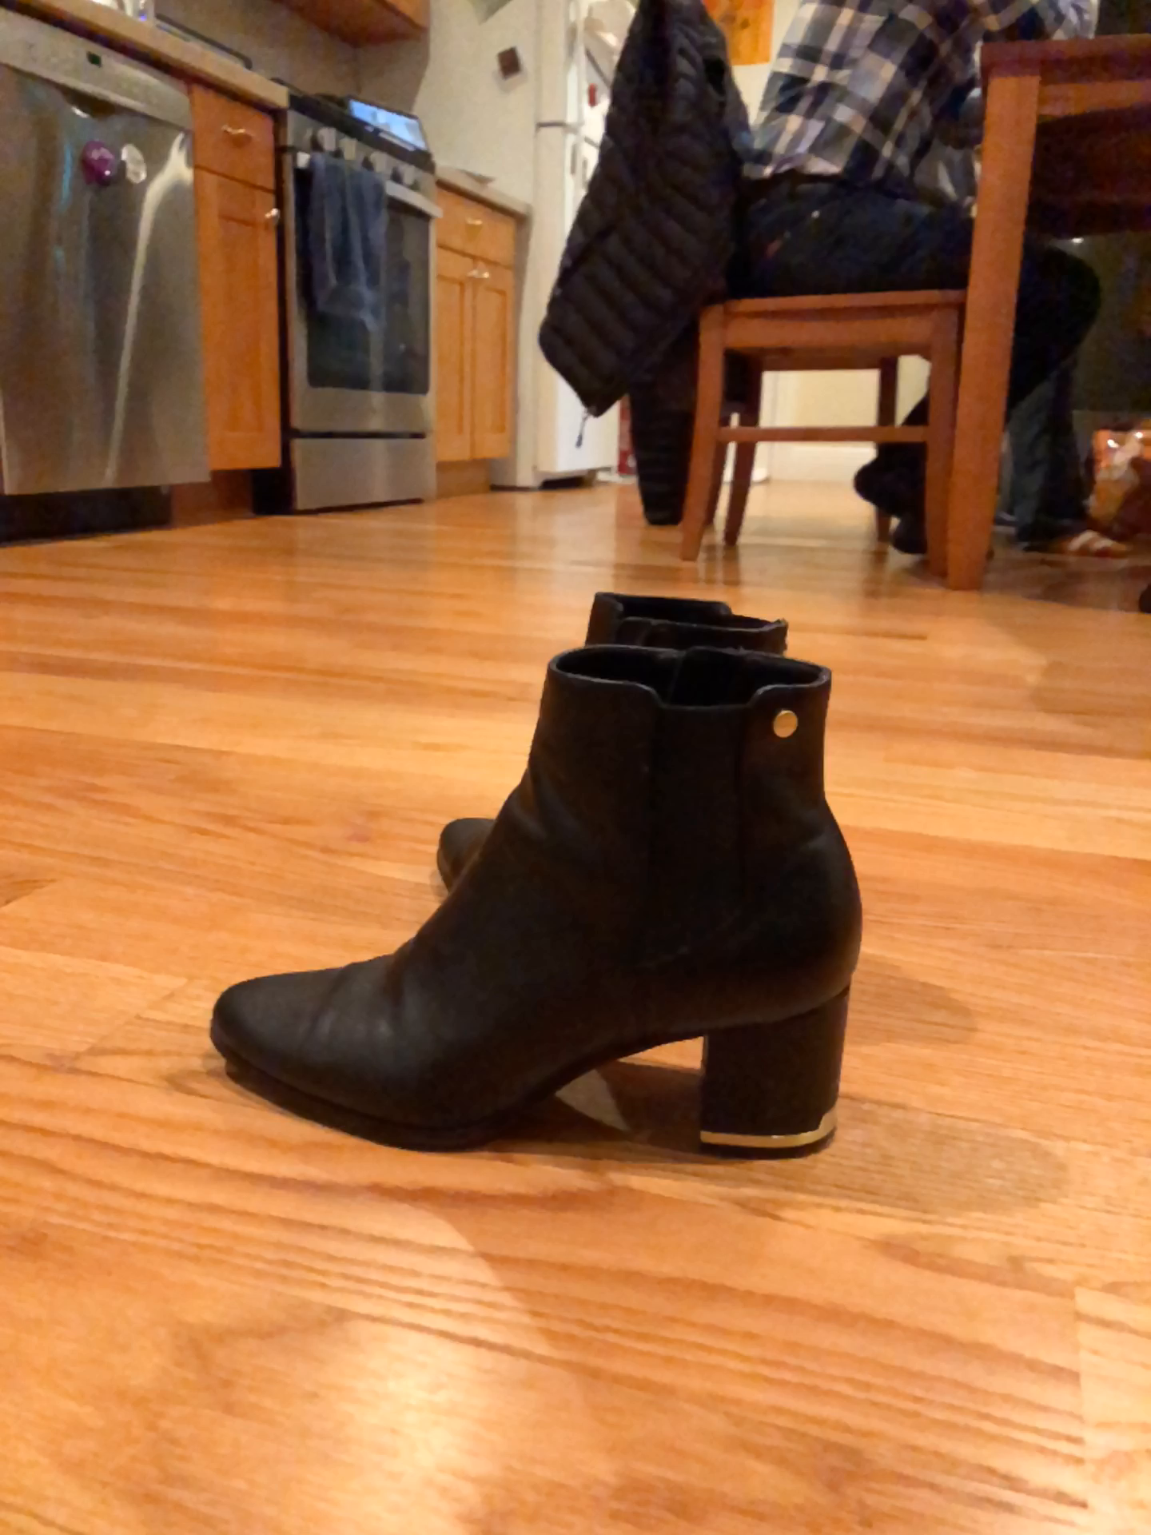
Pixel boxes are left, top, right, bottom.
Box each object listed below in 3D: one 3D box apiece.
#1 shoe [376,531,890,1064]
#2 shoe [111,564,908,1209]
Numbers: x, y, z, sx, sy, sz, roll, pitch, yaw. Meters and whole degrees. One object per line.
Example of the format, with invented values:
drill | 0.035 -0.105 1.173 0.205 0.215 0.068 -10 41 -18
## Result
shoe | 0.010 -0.007 0.569 0.095 0.175 0.237 -9 18 -35
shoe | -0.019 0.029 0.430 0.236 0.175 0.095 4 14 10
